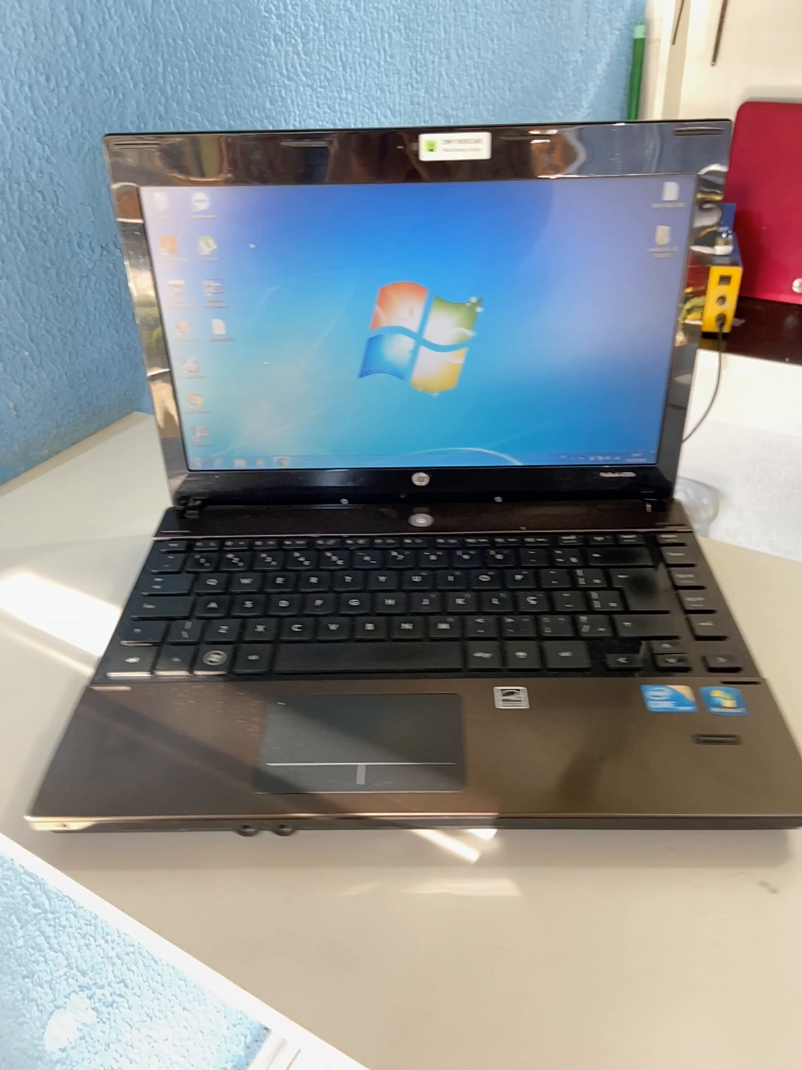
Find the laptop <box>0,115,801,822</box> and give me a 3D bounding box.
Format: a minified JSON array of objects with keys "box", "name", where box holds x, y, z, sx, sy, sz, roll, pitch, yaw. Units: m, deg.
[{"box":[0.008,-0.049,0.380,0.321,0.207,0.260,-1,34,3],"name":"laptop"}]
